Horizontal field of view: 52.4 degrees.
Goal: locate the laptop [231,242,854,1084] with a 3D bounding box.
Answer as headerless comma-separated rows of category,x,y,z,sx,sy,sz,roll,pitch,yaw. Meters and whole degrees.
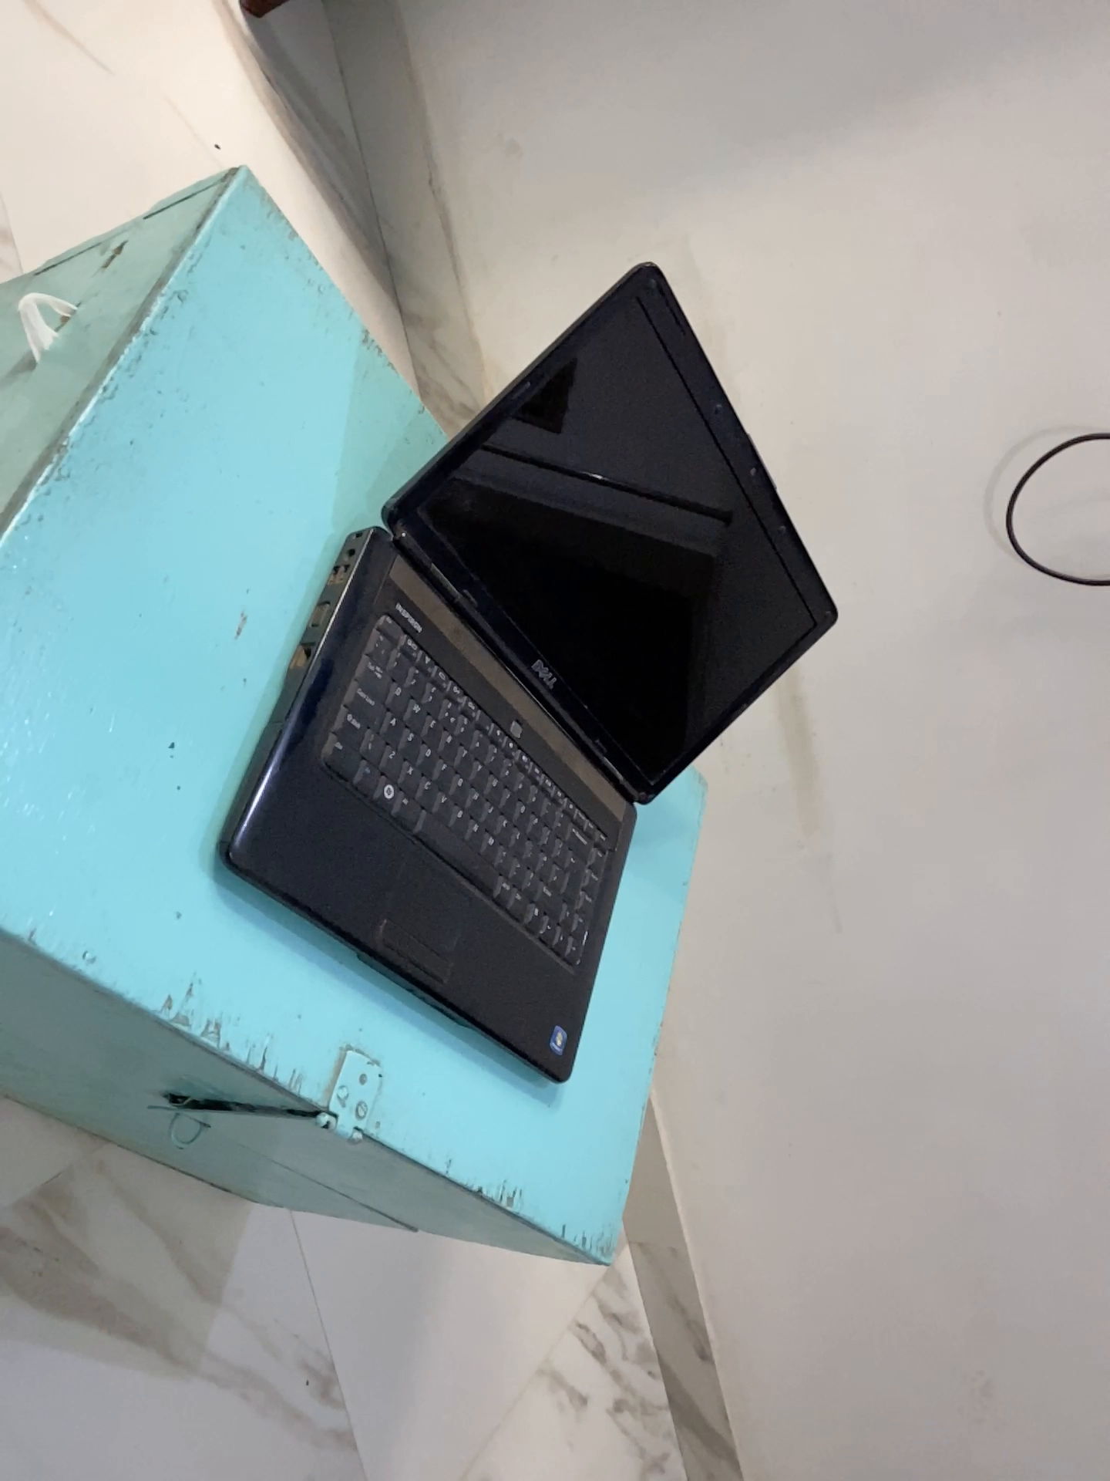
laptop,0.041,-0.028,0.773,0.364,0.162,0.413,47,49,-44
